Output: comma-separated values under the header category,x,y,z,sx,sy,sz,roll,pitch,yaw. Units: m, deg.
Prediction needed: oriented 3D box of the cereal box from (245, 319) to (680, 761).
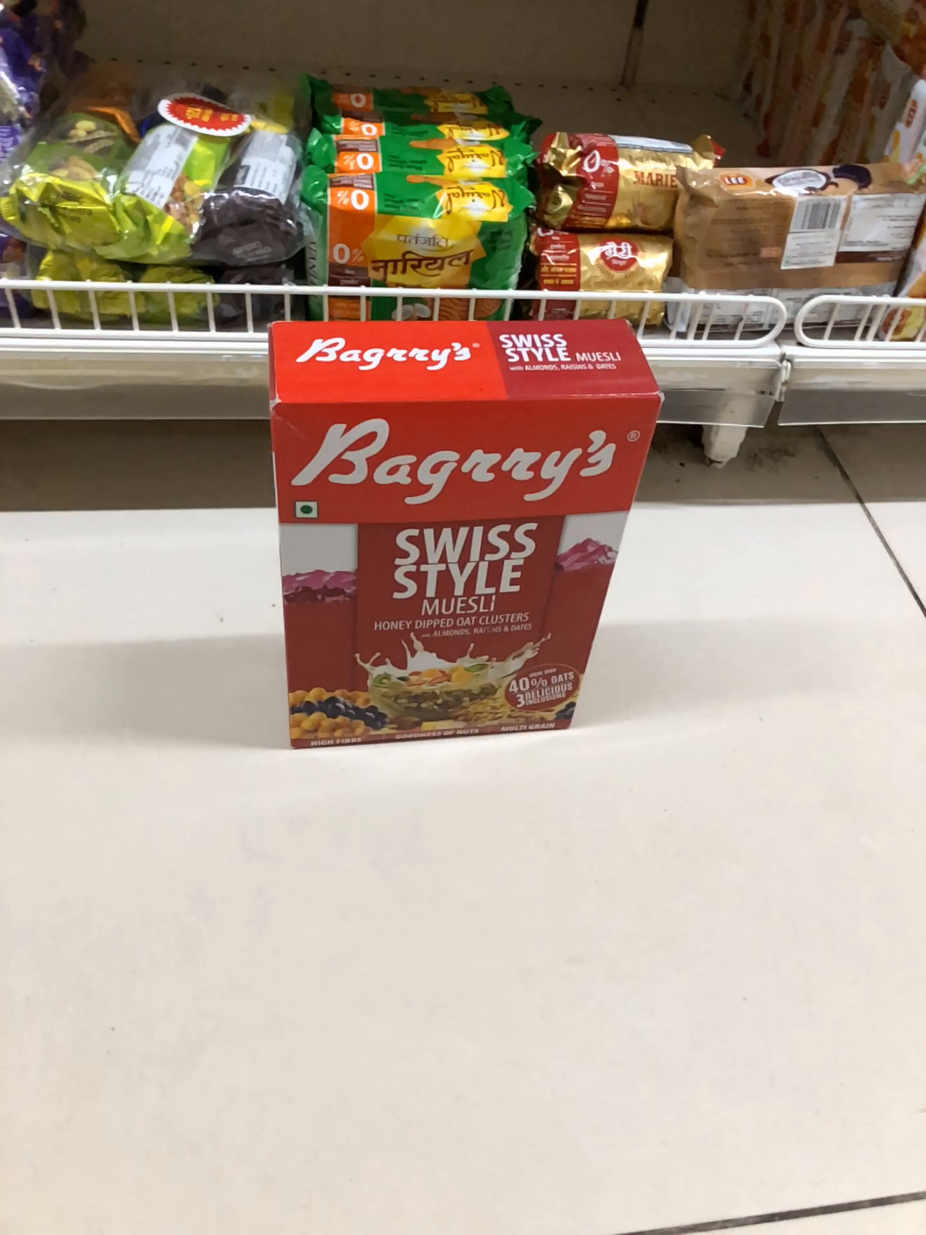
category,x,y,z,sx,sy,sz,roll,pitch,yaw
cereal box,-0.012,-0.029,0.552,0.190,0.258,0.060,-3,47,-10
